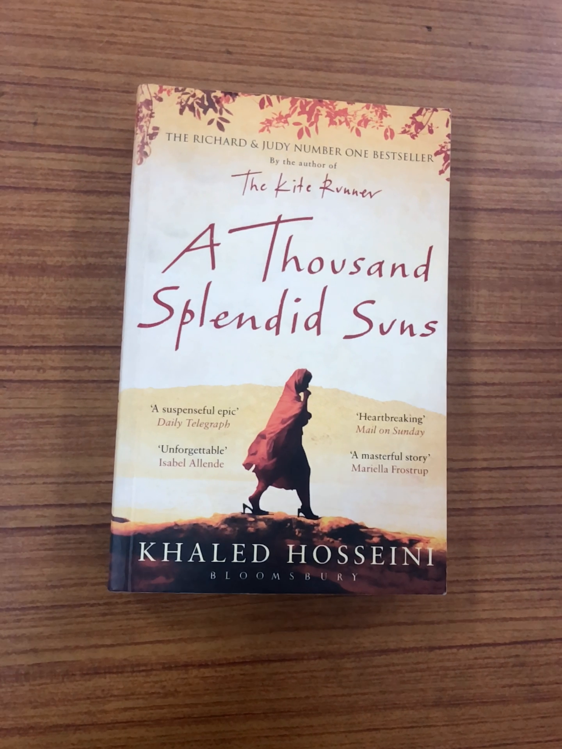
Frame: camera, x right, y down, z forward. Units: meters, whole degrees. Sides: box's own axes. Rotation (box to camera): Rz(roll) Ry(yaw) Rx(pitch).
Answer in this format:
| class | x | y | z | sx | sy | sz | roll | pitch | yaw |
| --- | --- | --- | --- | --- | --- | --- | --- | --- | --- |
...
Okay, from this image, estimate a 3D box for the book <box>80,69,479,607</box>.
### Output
| class | x | y | z | sx | sy | sz | roll | pitch | yaw |
| --- | --- | --- | --- | --- | --- | --- | --- | --- | --- |
| book | 0.002 | -0.011 | 0.244 | 0.140 | 0.030 | 0.190 | 3 | 86 | -8 |
